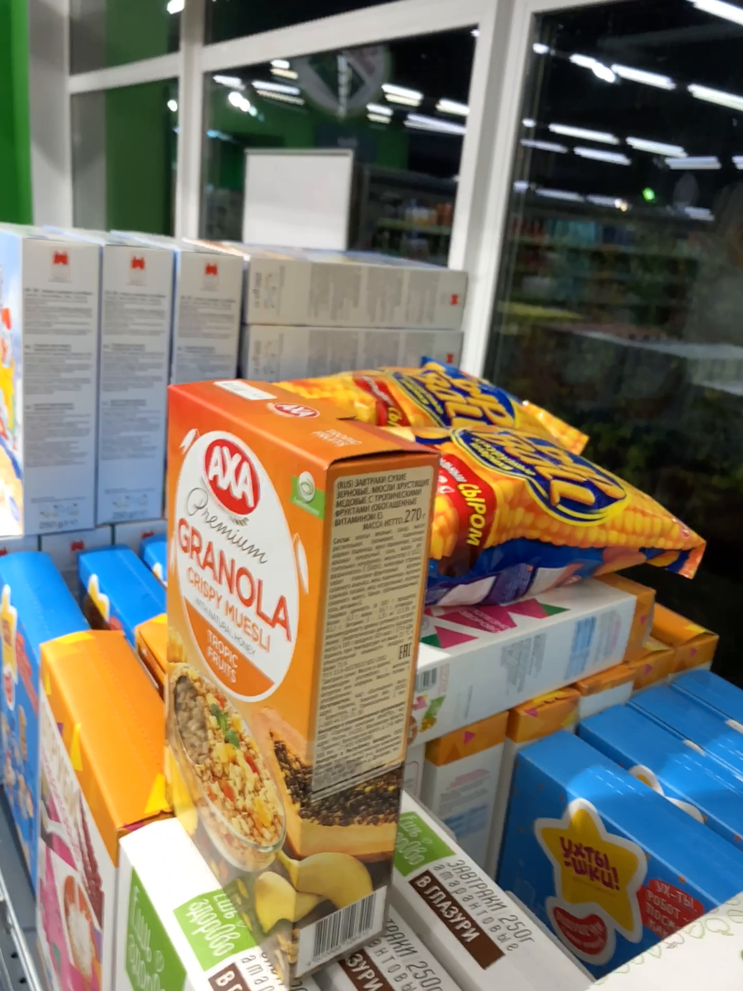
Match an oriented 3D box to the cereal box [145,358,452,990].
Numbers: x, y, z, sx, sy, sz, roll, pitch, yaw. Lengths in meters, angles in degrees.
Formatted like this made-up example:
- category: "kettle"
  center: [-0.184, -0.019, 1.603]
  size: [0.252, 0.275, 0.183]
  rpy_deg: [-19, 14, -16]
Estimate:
- category: "cereal box"
  center: [-0.045, 0.064, 0.352]
  size: [0.050, 0.219, 0.140]
  rpy_deg: [-8, 23, -36]
